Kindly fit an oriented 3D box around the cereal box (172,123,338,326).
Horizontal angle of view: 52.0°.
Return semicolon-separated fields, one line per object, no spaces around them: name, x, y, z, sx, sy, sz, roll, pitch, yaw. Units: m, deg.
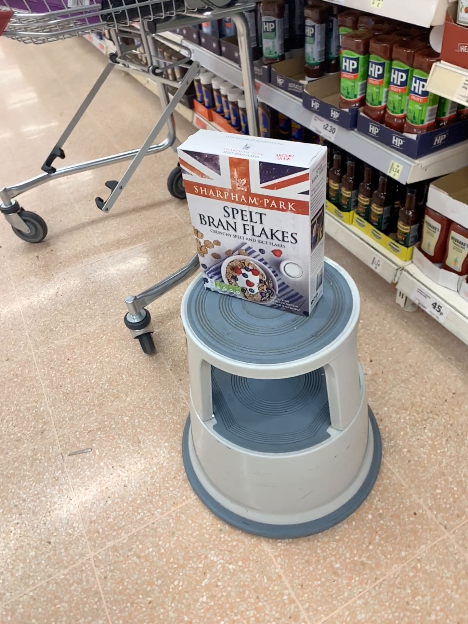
cereal box;0.036;-0.121;0.696;0.201;0.258;0.070;17;49;24
